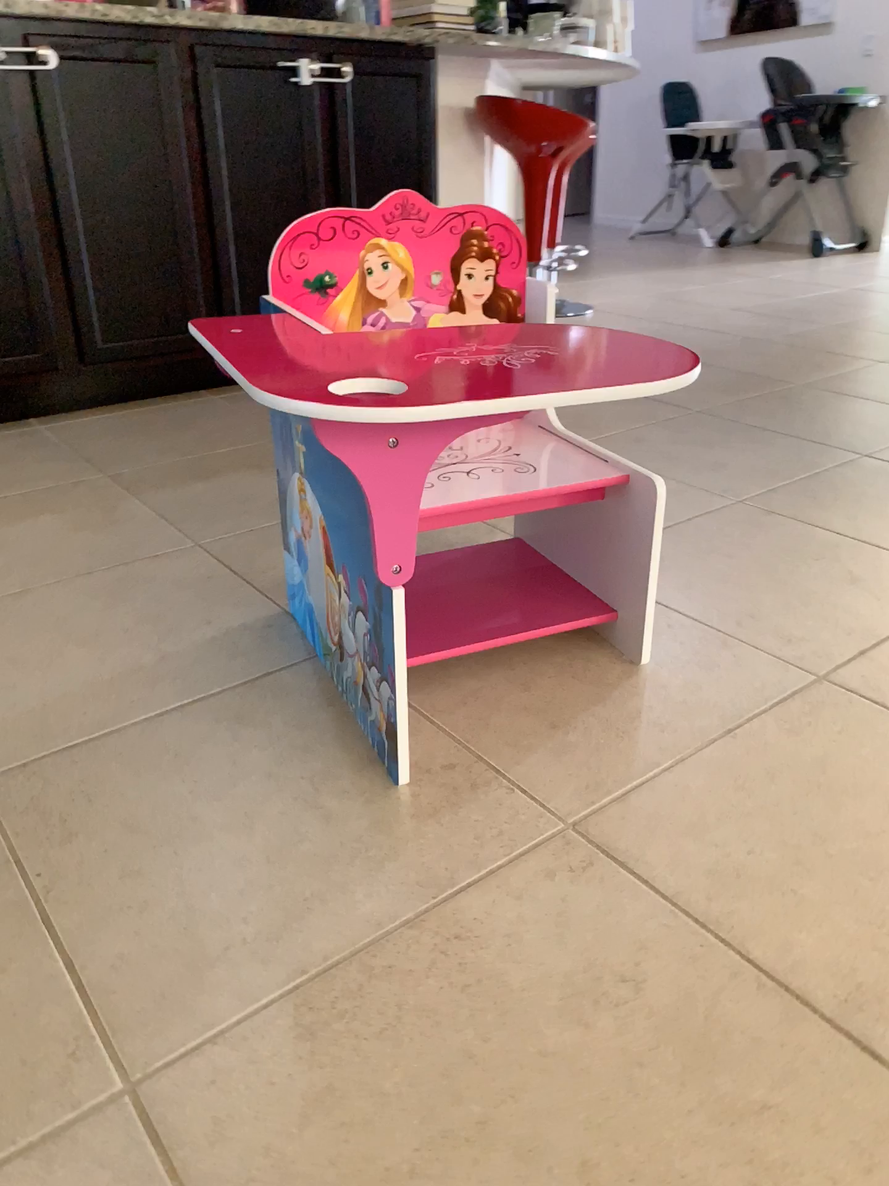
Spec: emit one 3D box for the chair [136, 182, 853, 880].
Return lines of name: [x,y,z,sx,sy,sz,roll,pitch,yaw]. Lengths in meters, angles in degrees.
chair: [0.005,-0.153,1.046,0.532,0.567,0.552,-12,28,-24]
